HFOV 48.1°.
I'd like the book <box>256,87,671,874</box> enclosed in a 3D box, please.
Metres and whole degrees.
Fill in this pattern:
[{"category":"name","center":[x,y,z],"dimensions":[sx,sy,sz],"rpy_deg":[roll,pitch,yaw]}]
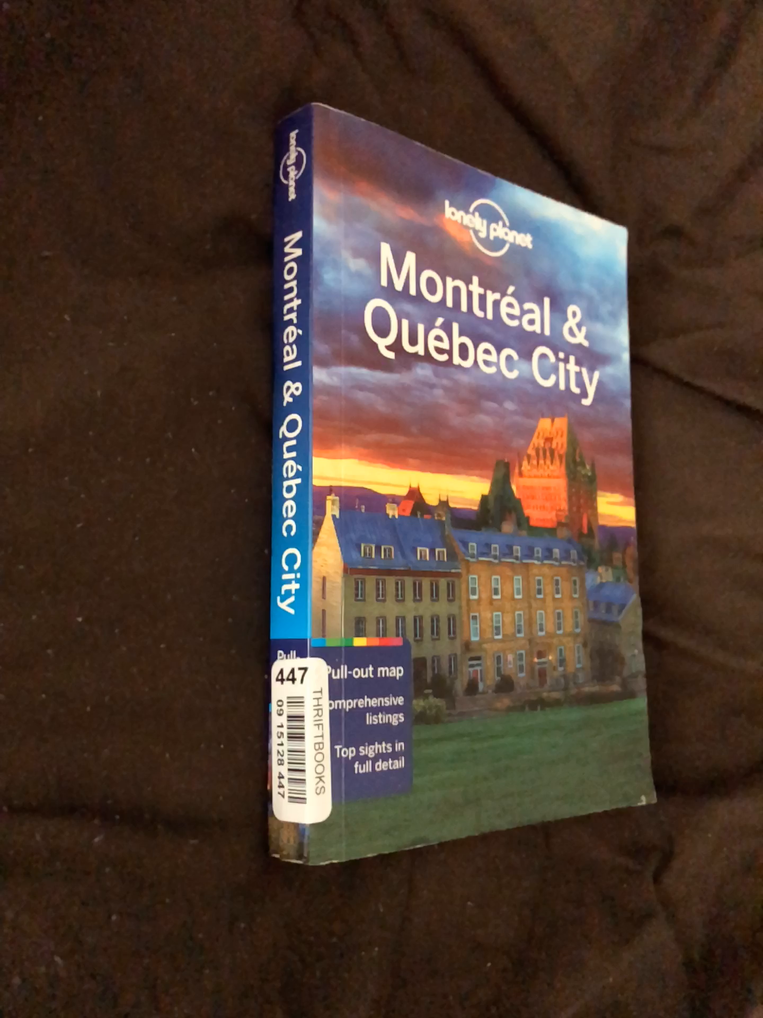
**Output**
[{"category":"book","center":[0.032,-0.007,0.267],"dimensions":[0.138,0.023,0.205],"rpy_deg":[6,80,-33]}]
